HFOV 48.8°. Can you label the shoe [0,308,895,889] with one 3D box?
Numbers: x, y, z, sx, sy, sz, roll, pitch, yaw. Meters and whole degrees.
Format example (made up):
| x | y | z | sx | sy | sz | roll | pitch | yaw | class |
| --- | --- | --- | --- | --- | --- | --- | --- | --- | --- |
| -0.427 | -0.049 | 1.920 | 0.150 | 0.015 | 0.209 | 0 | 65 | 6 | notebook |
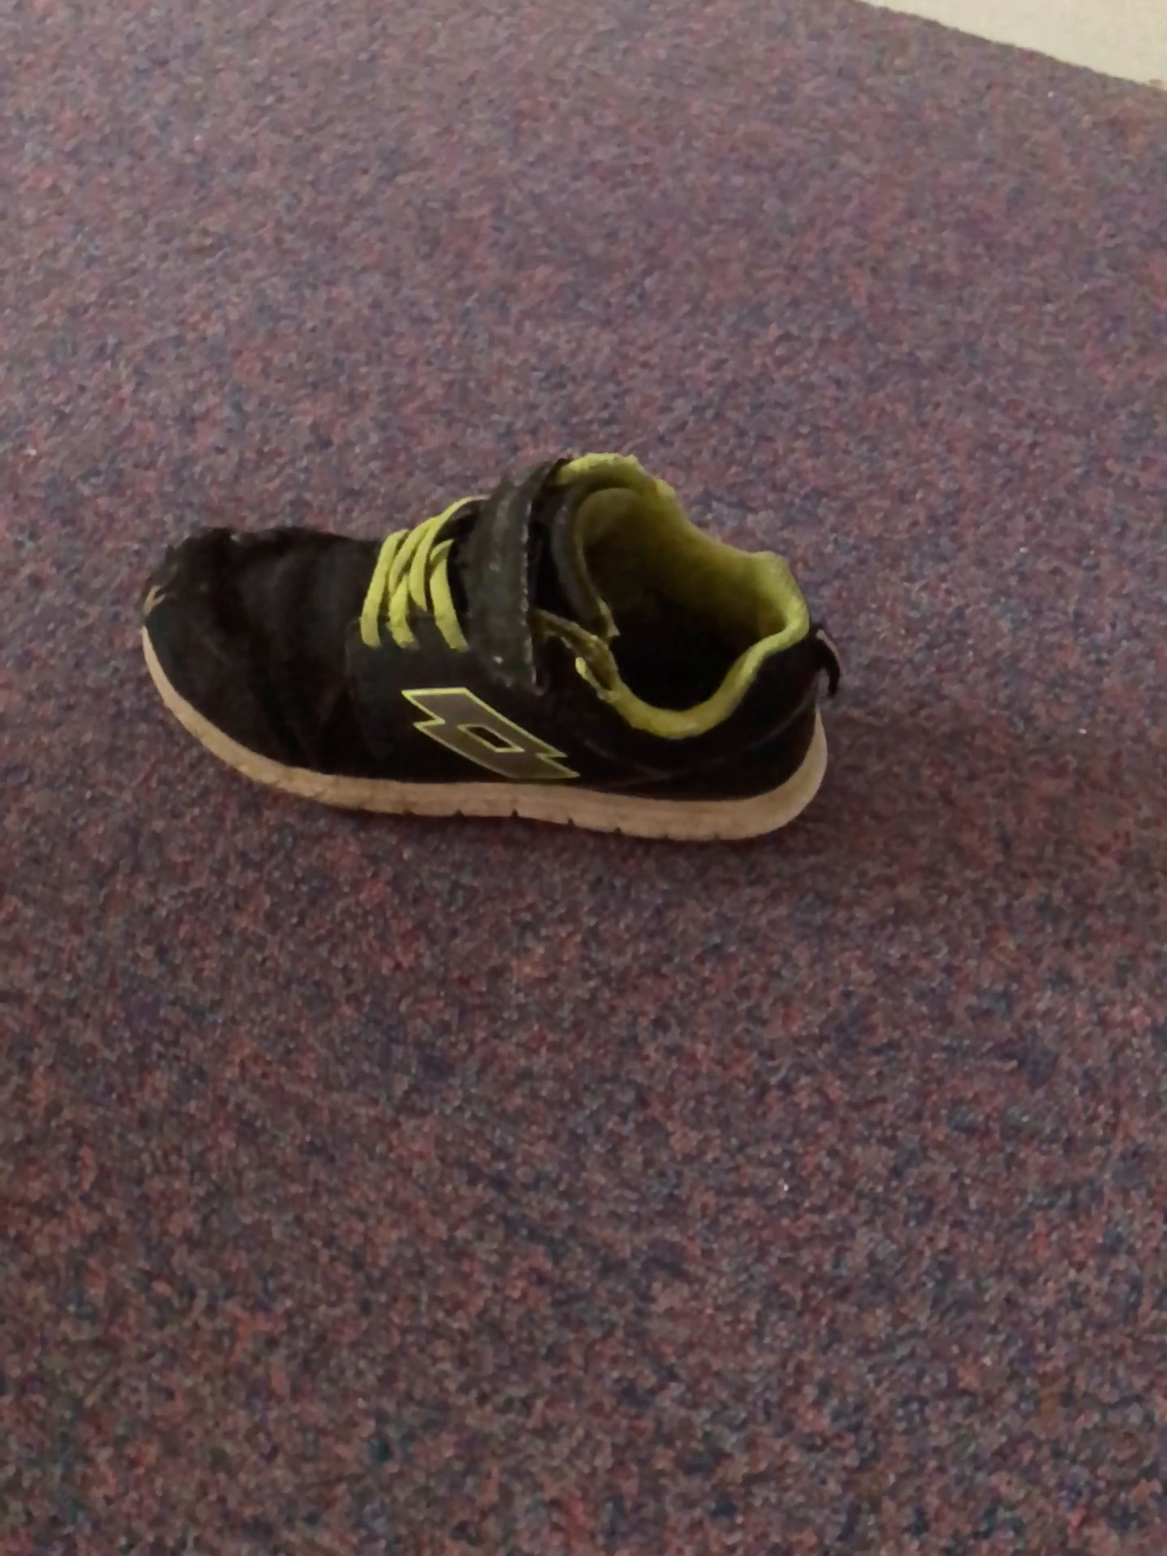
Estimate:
| x | y | z | sx | sy | sz | roll | pitch | yaw | class |
| --- | --- | --- | --- | --- | --- | --- | --- | --- | --- |
| -0.034 | -0.047 | 0.365 | 0.220 | 0.100 | 0.090 | 8 | 57 | 0 | shoe |
